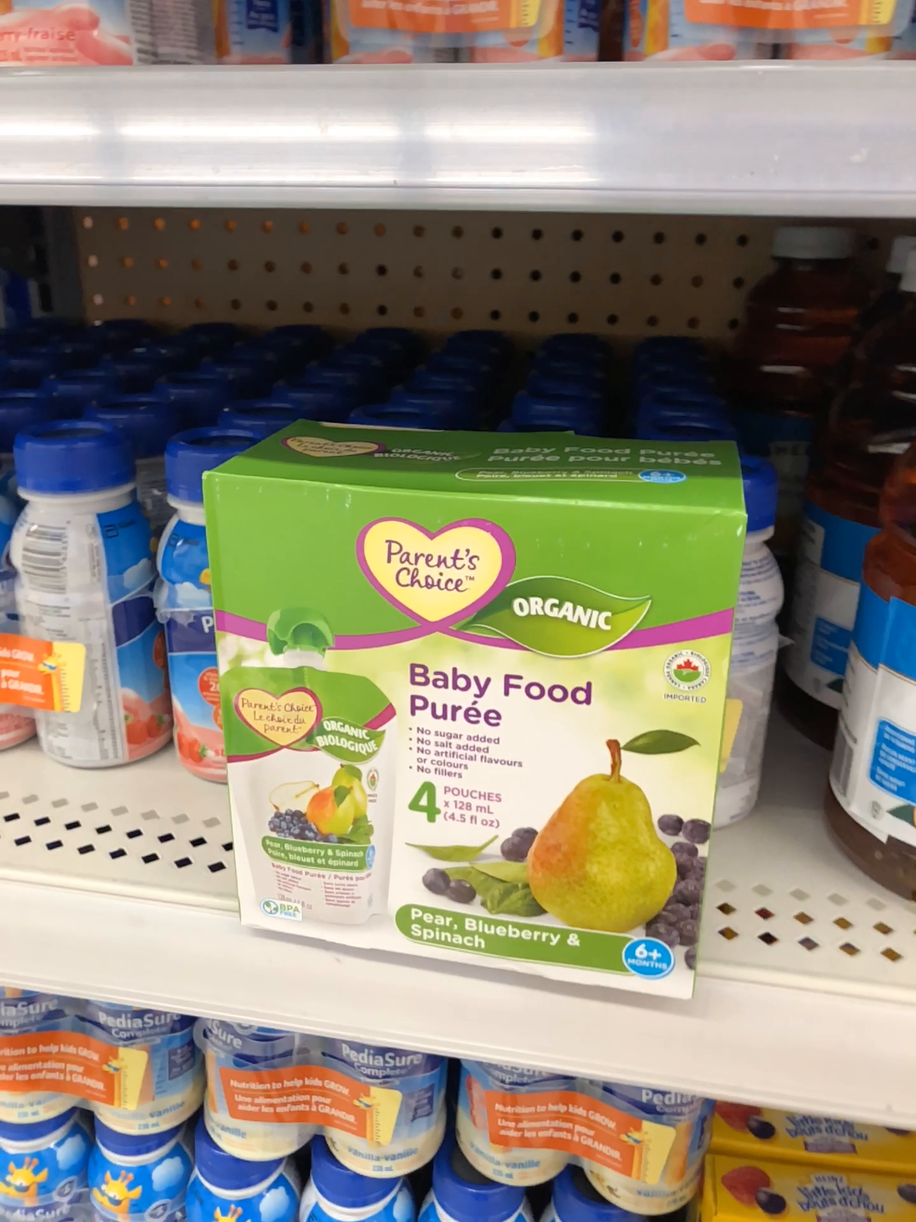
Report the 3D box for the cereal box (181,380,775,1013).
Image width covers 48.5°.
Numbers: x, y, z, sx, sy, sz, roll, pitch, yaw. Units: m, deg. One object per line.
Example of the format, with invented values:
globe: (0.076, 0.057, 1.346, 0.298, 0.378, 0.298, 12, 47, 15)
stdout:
cereal box: (0.008, 0.020, 0.324, 0.150, 0.159, 0.091, 6, 23, 10)
